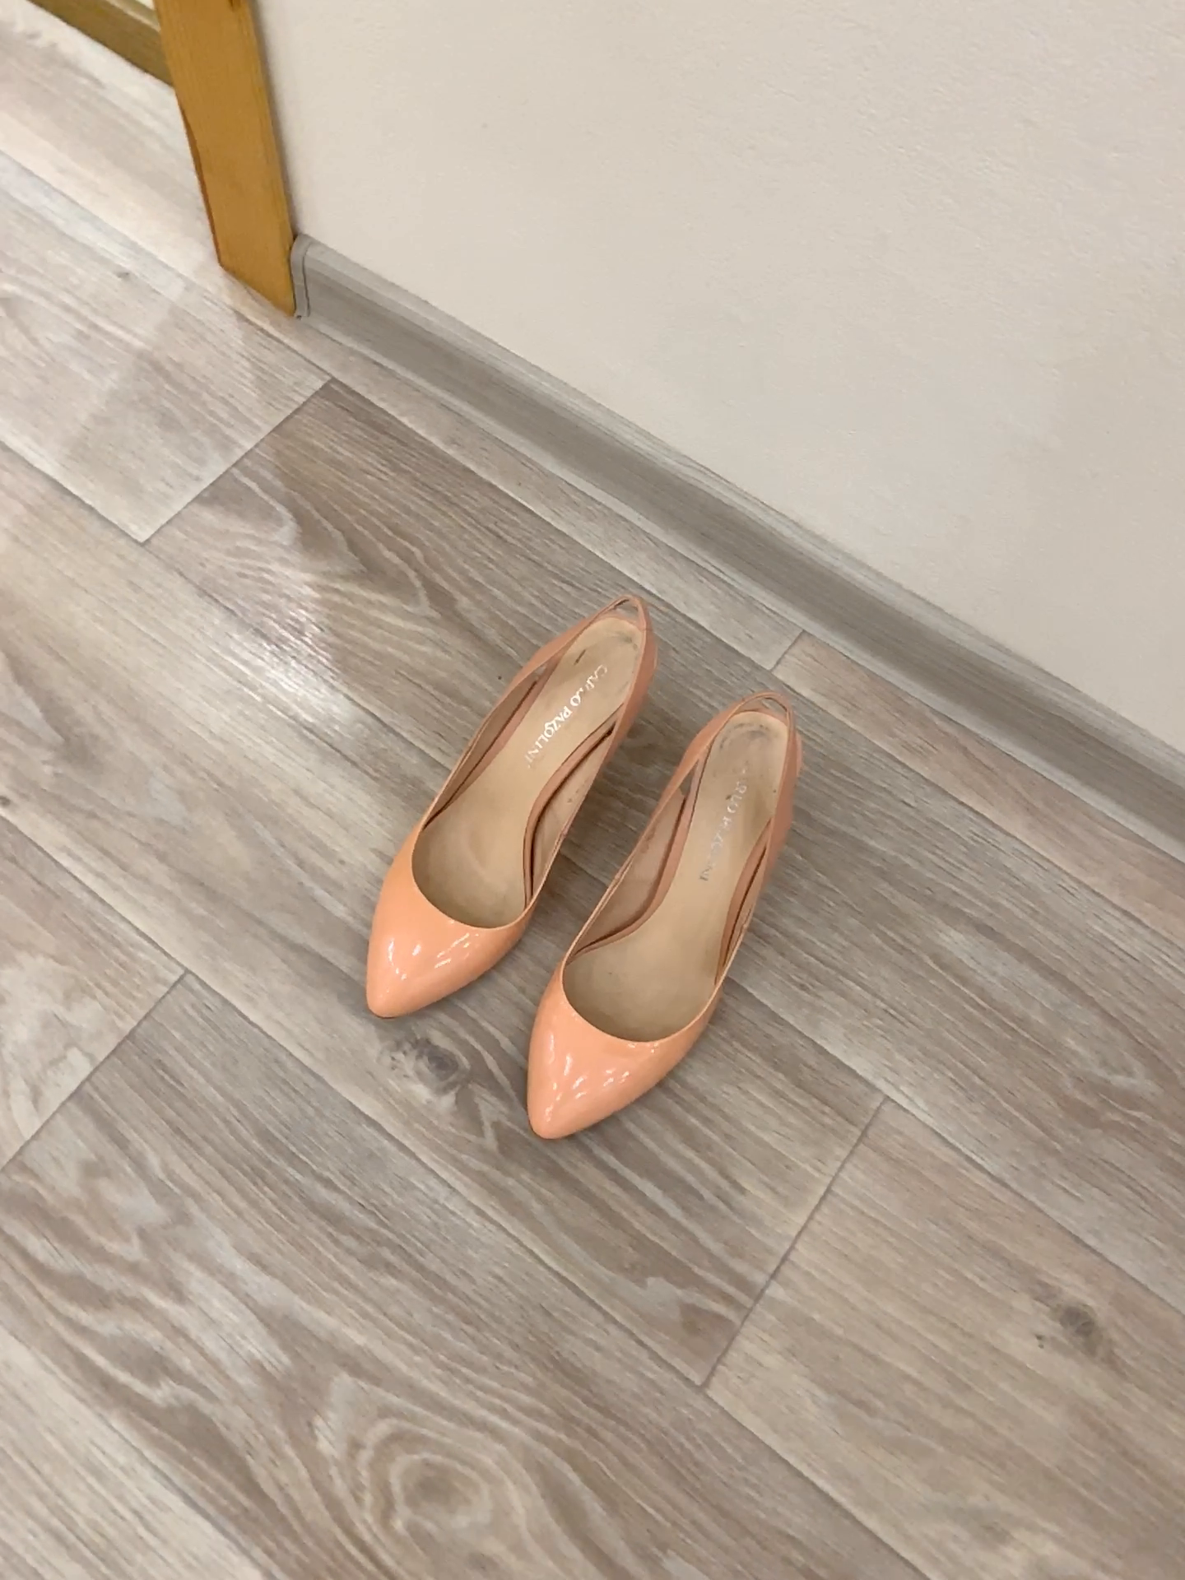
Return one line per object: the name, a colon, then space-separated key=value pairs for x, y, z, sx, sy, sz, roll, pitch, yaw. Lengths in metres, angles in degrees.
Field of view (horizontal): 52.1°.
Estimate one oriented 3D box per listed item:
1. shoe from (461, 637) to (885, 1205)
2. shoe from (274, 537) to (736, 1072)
shoe: x=0.039 y=0.065 z=0.595 sx=0.090 sy=0.120 sz=0.240 roll=28 pitch=67 yaw=8
shoe: x=-0.038 y=0.008 z=0.620 sx=0.090 sy=0.120 sz=0.240 roll=34 pitch=68 yaw=10
